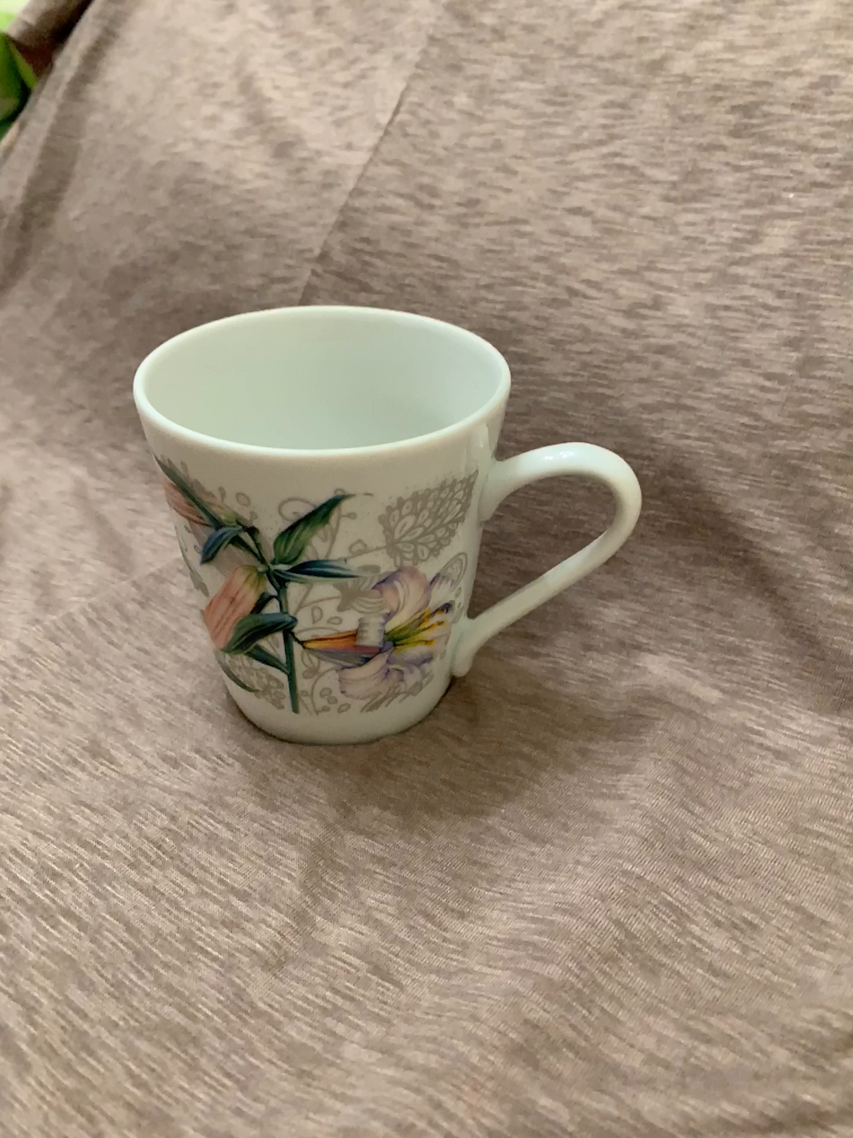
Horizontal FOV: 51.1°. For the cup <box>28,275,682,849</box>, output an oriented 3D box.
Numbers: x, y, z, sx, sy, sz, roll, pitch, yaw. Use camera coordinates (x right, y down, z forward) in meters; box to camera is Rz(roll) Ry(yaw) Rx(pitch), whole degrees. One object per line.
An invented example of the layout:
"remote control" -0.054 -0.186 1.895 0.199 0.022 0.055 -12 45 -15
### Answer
"cup" -0.012 -0.012 0.222 0.119 0.088 0.084 14 36 25
